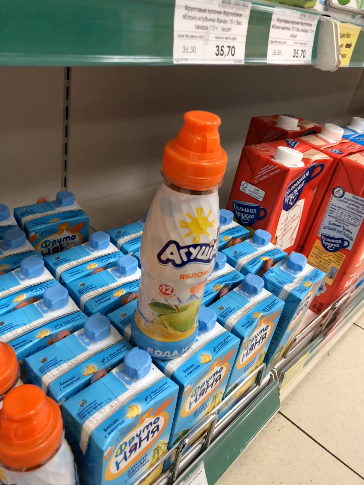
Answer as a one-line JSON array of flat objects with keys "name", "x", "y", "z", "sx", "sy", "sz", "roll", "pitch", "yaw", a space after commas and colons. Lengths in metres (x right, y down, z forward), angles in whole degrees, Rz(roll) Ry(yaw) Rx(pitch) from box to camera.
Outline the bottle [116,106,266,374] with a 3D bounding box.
[{"name": "bottle", "x": -0.003, "y": 0.004, "z": 0.297, "sx": 0.056, "sy": 0.193, "sz": 0.053, "roll": 9, "pitch": 32, "yaw": -5}]
